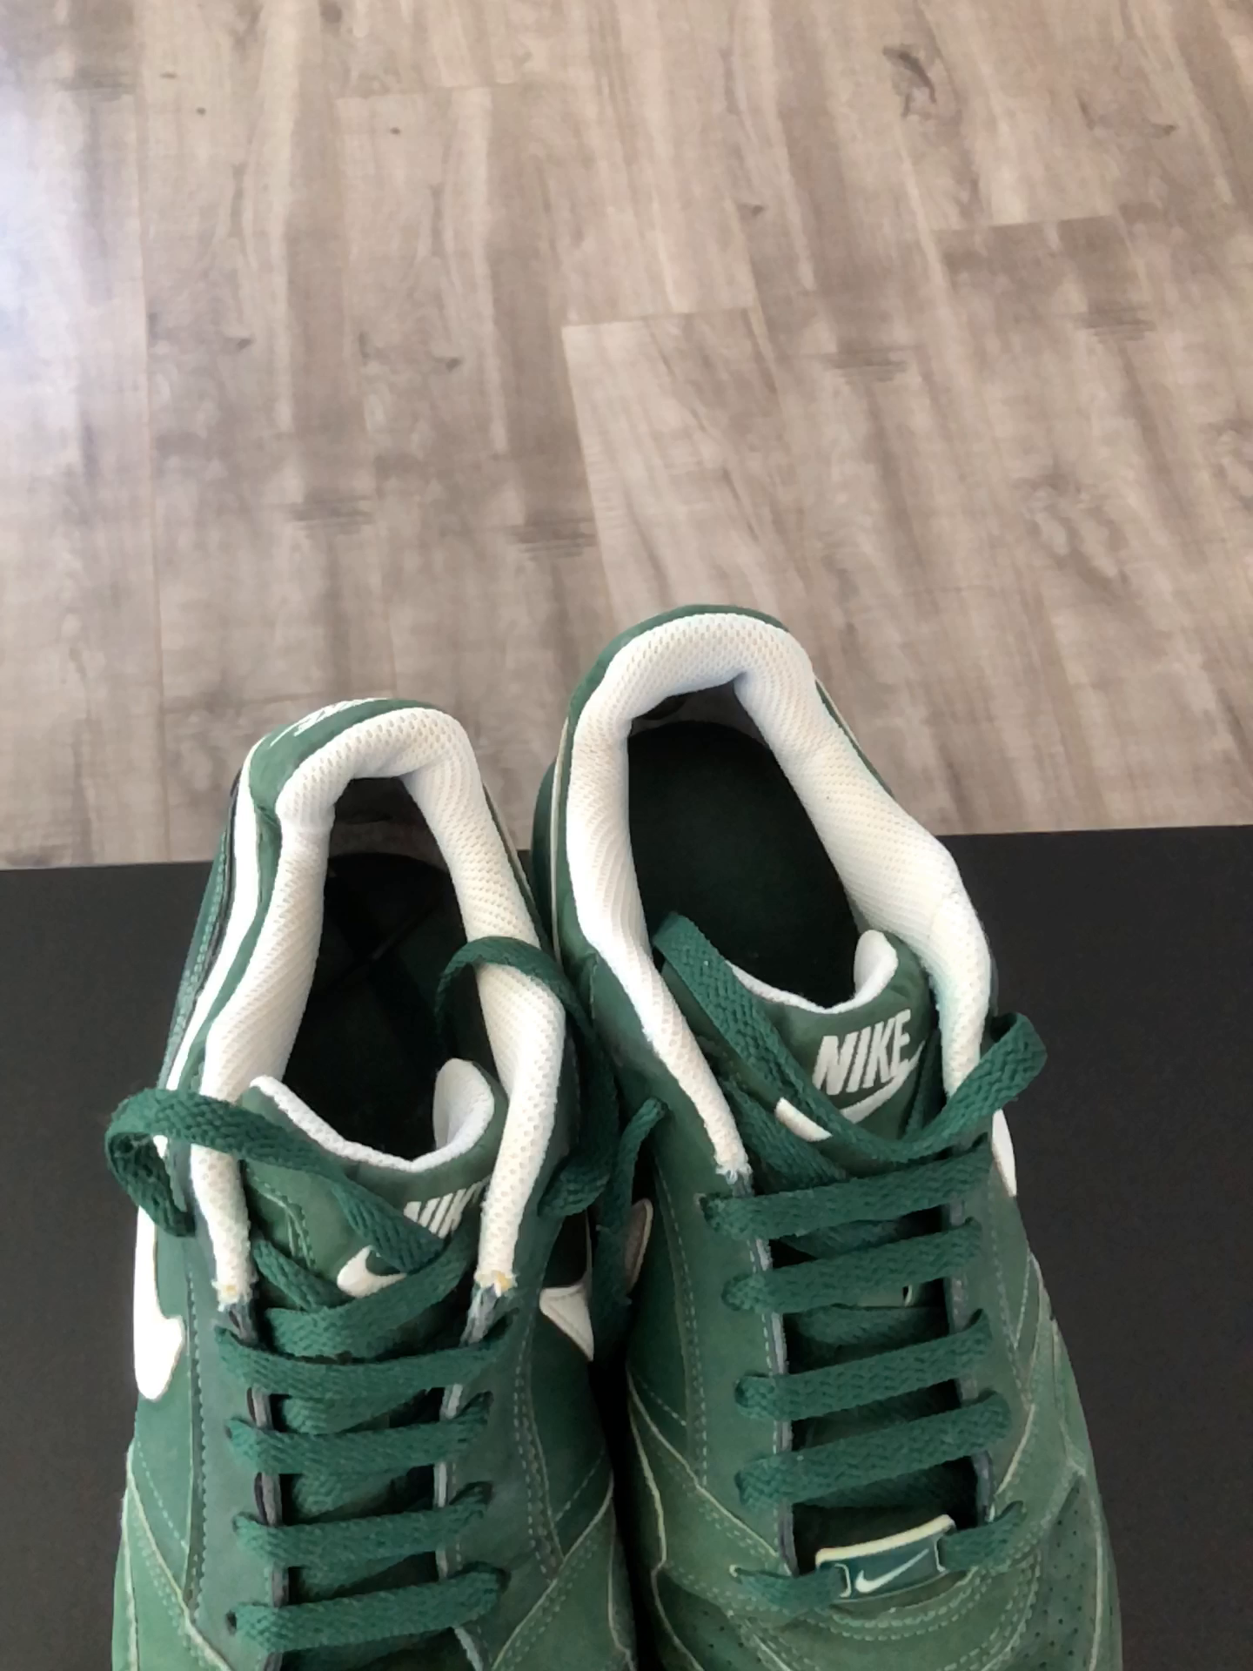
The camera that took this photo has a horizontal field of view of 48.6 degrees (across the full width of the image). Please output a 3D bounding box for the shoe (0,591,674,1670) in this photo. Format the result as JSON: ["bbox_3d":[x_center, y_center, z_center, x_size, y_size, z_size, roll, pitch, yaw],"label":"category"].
[{"bbox_3d":[-0.056,0.108,0.274,0.100,0.100,0.292,-3,72,-4],"label":"shoe"}]

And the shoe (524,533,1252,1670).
[{"bbox_3d":[0.047,0.092,0.276,0.110,0.100,0.280,-5,72,-5],"label":"shoe"}]
